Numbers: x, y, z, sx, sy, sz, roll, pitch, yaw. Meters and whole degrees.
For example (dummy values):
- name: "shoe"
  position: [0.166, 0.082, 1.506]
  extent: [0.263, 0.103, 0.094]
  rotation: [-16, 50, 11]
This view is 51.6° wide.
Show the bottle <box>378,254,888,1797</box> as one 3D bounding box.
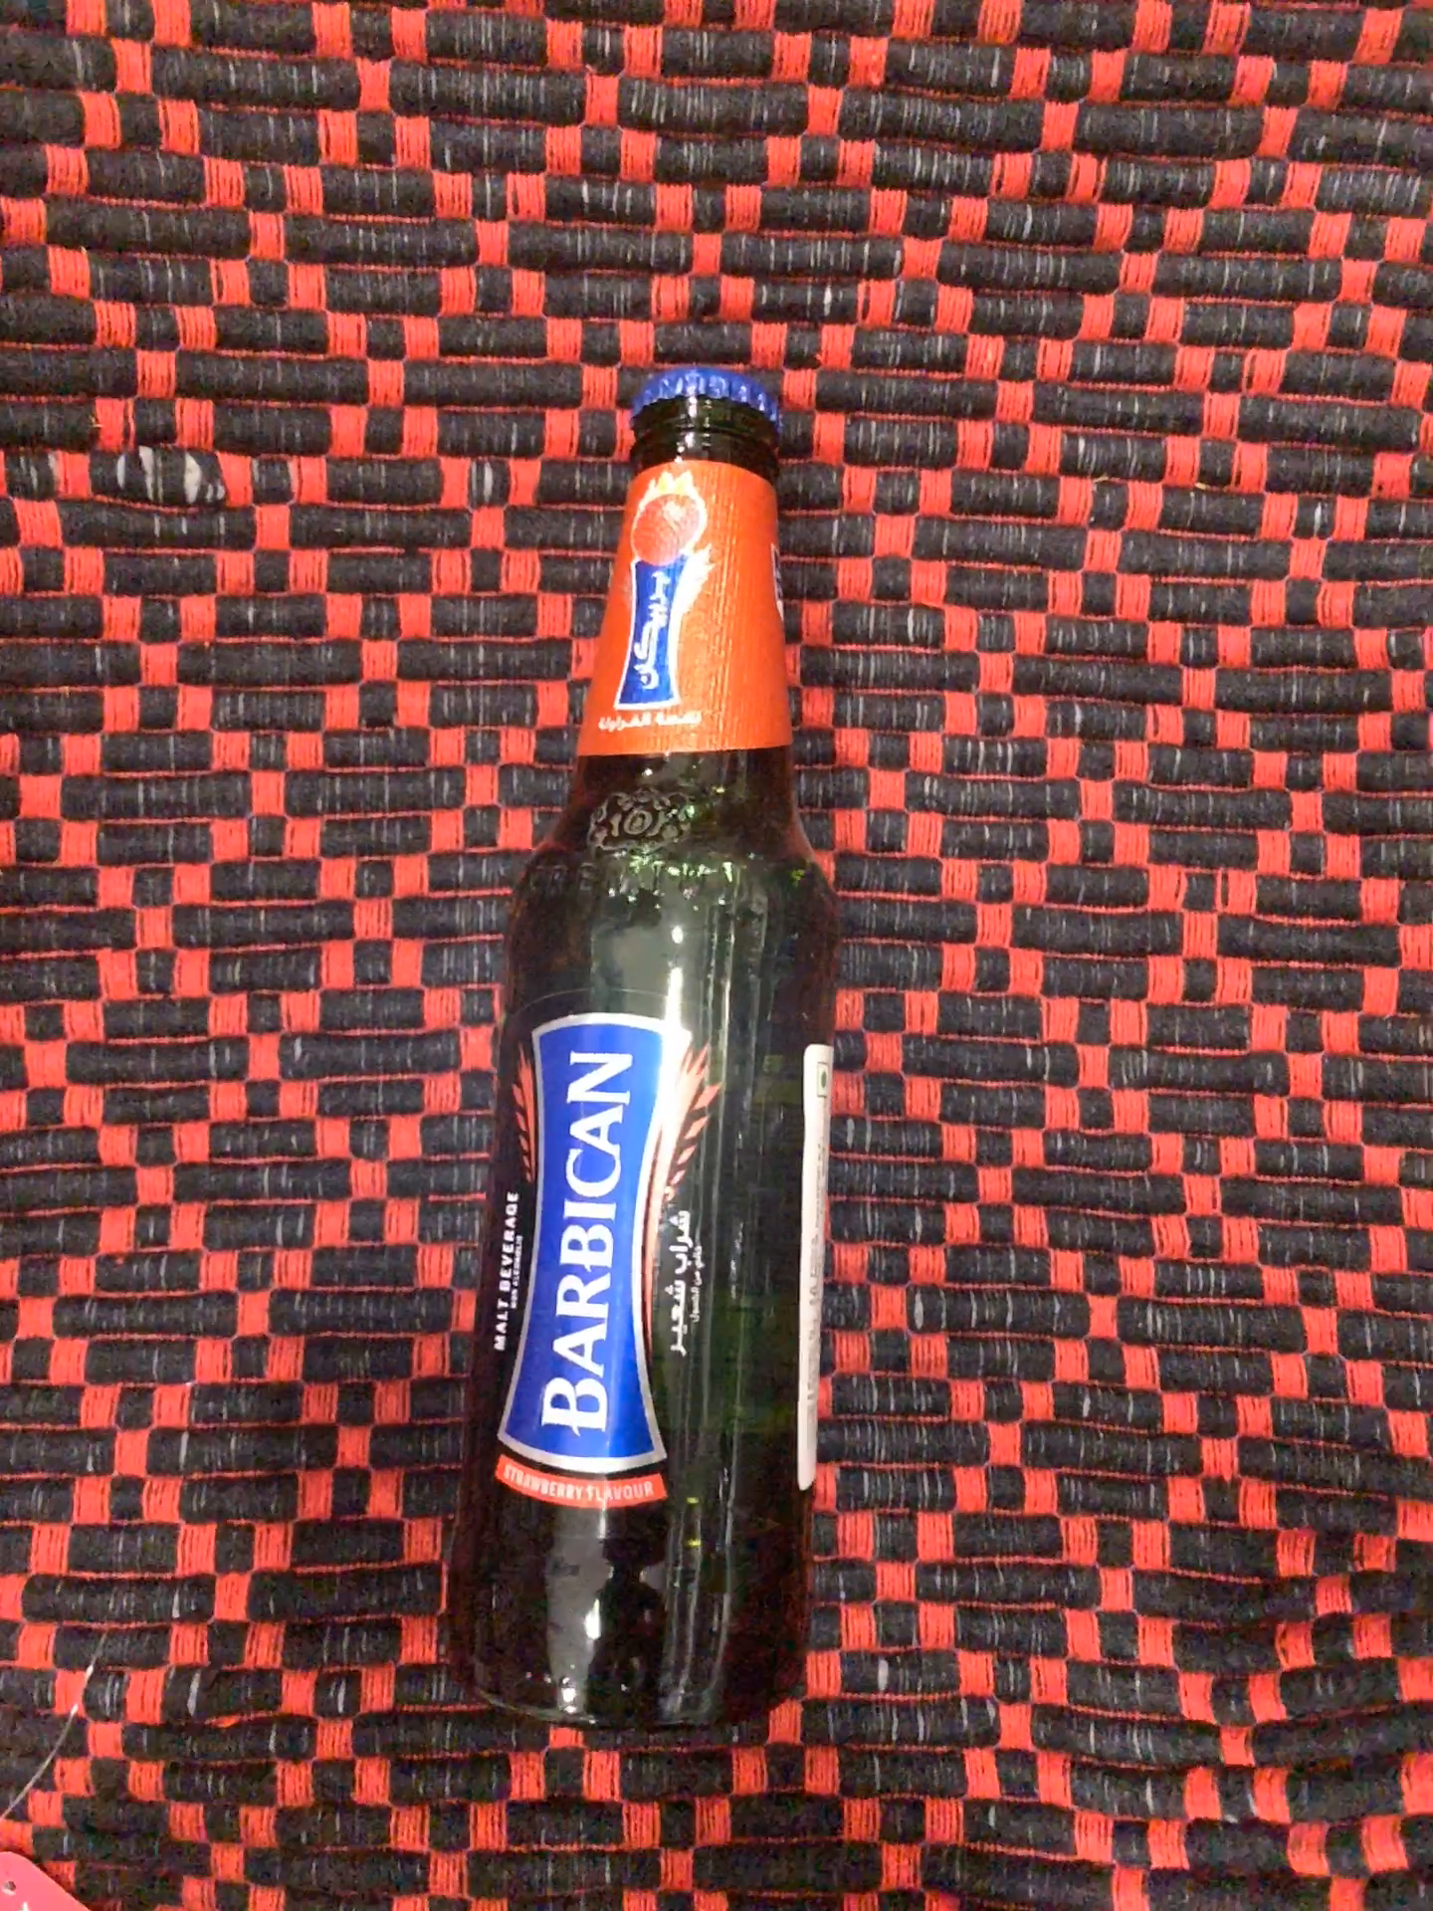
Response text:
- name: "bottle"
  position: [-0.007, 0.007, 0.251]
  extent: [0.060, 0.070, 0.220]
  rotation: [-1, 81, 14]
